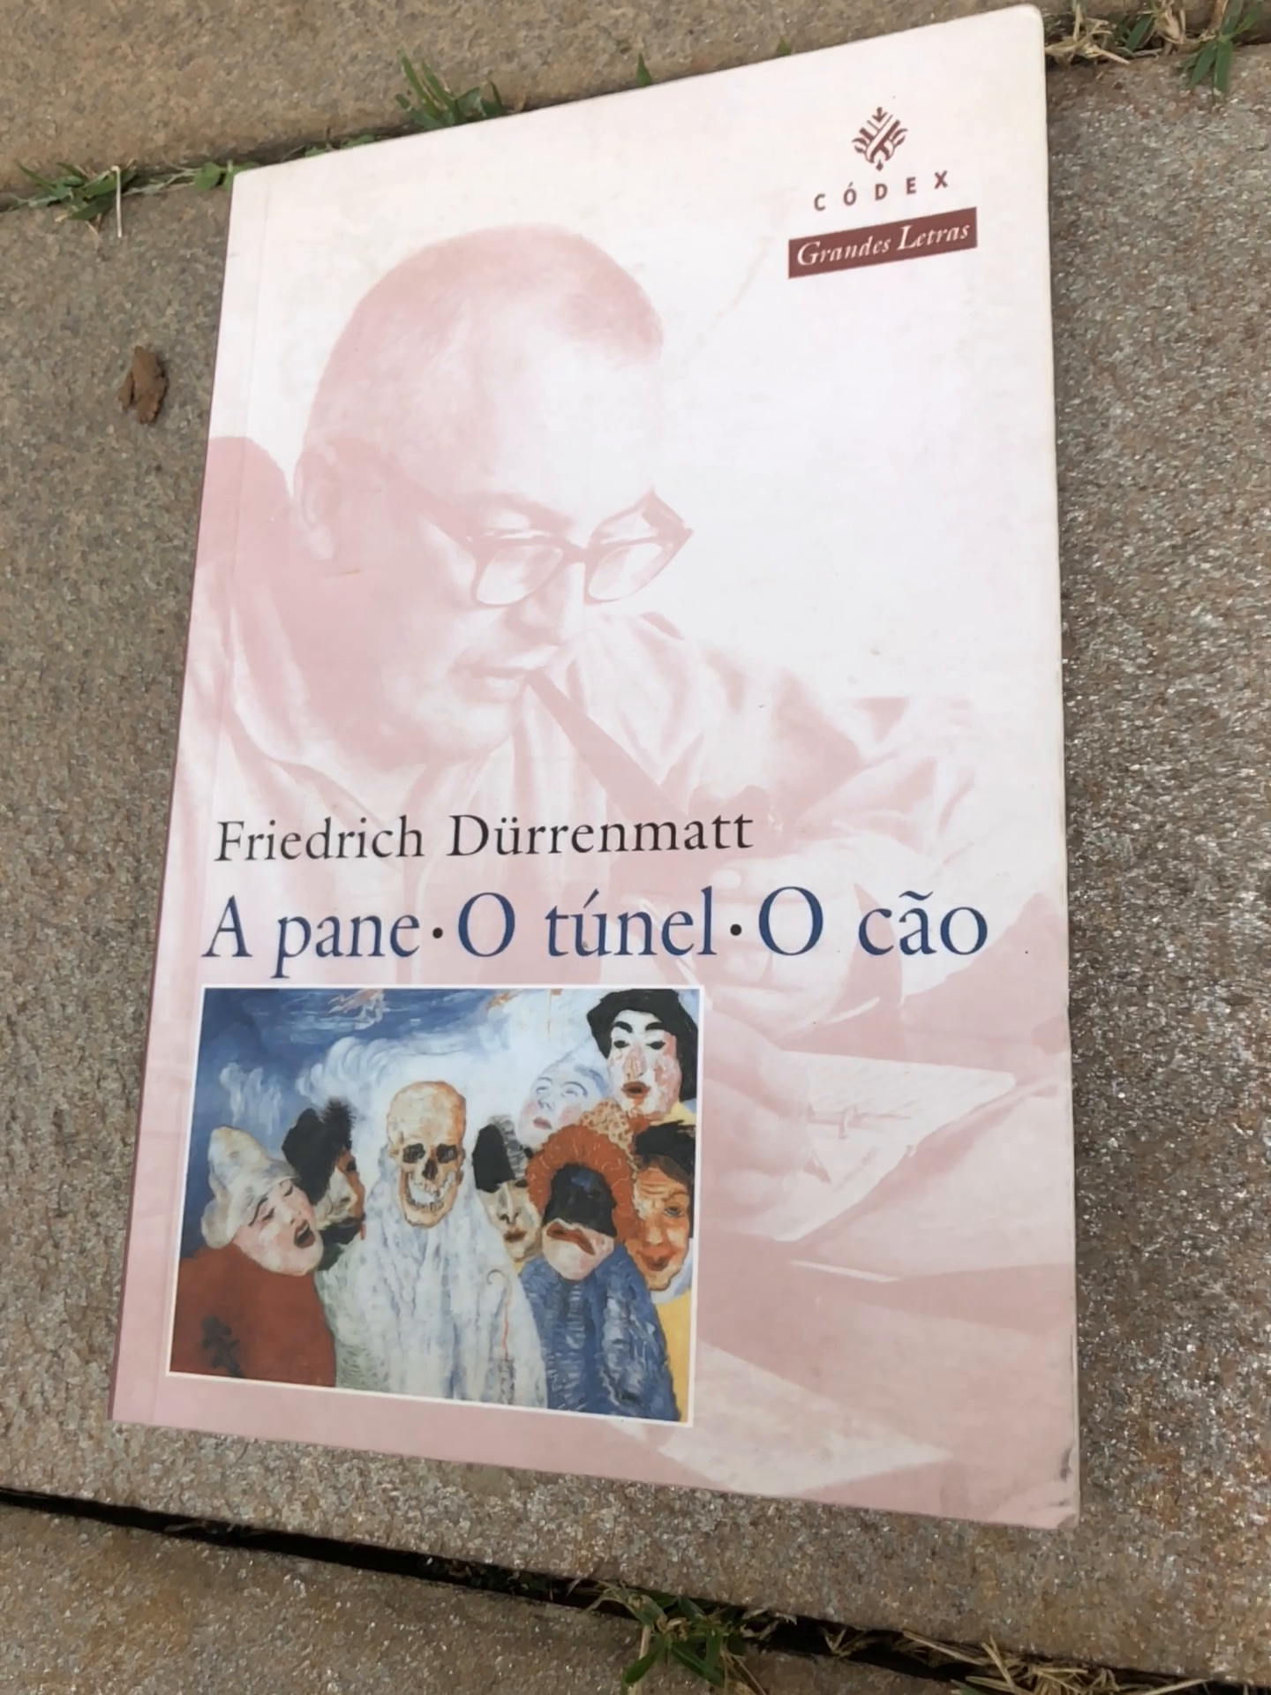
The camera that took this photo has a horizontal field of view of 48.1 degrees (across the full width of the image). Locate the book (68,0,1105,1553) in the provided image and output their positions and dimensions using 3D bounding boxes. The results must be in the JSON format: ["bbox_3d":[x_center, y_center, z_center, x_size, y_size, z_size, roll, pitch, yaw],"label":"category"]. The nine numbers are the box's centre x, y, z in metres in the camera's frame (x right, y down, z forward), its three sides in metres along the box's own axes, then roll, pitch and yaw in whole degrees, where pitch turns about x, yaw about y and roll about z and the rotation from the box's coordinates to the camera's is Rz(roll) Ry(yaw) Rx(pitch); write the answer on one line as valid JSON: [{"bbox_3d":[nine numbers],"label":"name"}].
[{"bbox_3d":[-0.009,-0.016,0.205,0.140,0.015,0.199,-1,79,18],"label":"book"}]
